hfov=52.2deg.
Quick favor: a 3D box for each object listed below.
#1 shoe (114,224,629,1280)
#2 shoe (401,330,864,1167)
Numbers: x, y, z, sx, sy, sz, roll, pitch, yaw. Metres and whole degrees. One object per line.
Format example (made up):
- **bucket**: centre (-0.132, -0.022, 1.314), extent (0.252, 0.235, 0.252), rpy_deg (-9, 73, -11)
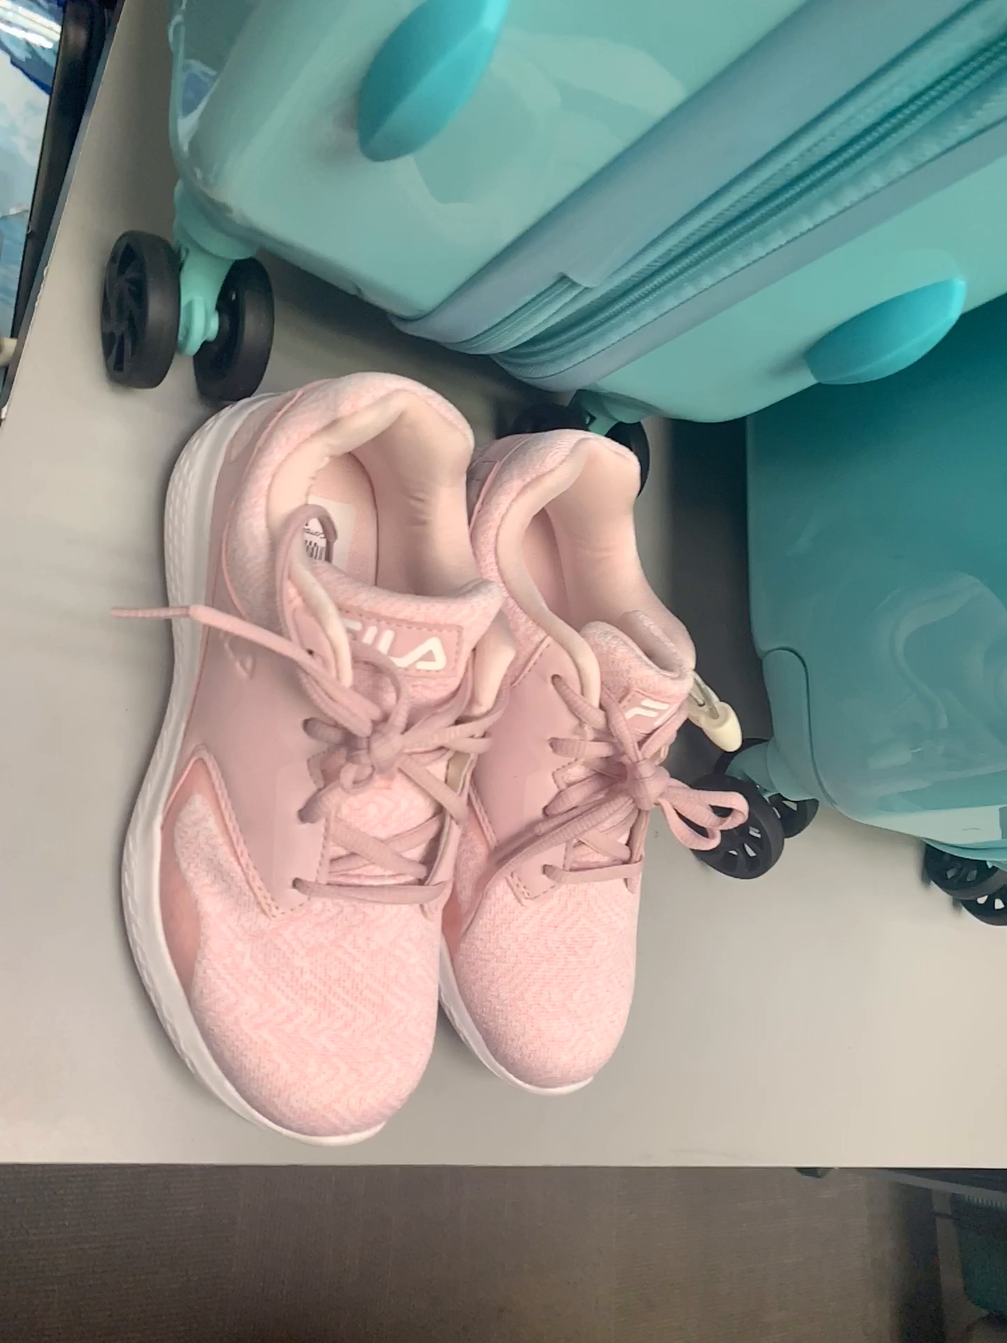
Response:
- **shoe**: centre (-0.047, 0.020, 0.315), extent (0.108, 0.104, 0.250), rpy_deg (5, 76, -36)
- **shoe**: centre (0.040, 0.027, 0.378), extent (0.108, 0.104, 0.250), rpy_deg (5, 76, -36)
